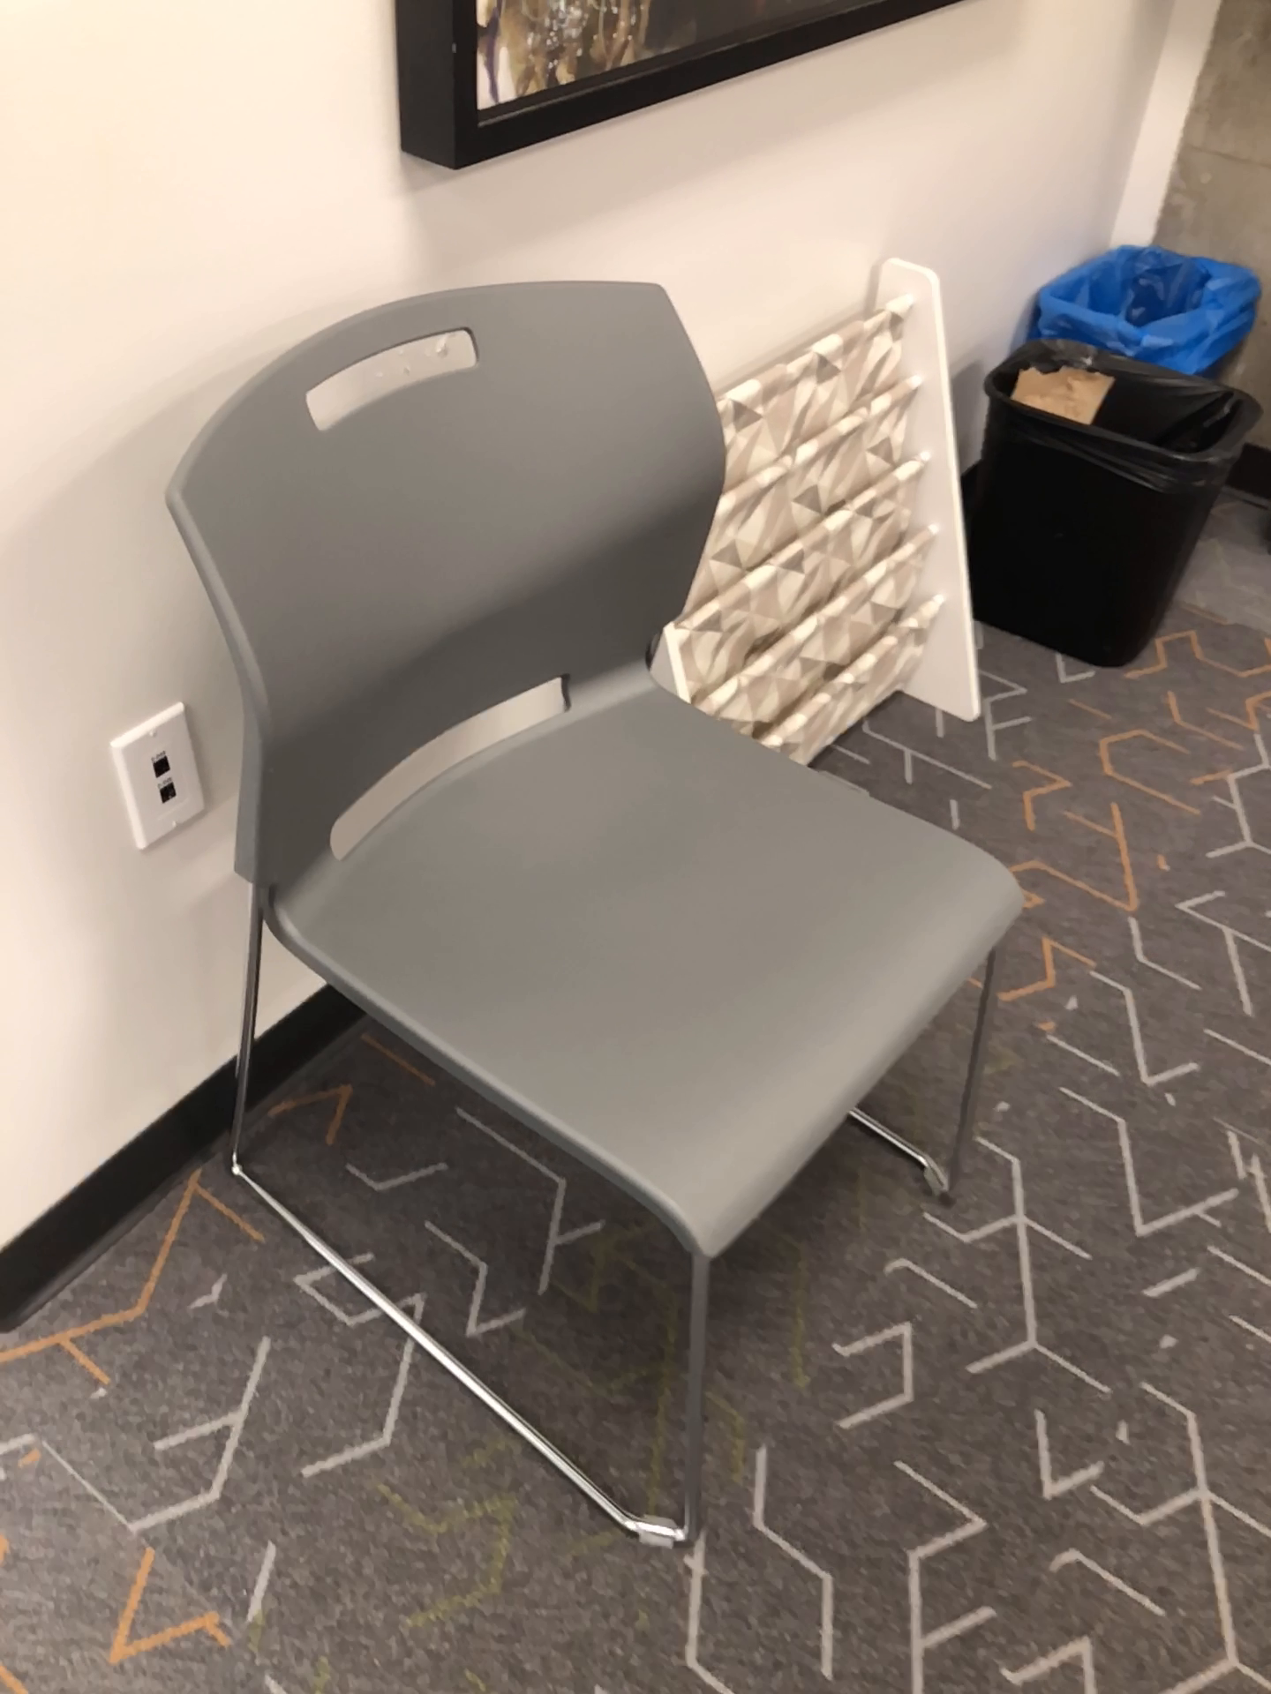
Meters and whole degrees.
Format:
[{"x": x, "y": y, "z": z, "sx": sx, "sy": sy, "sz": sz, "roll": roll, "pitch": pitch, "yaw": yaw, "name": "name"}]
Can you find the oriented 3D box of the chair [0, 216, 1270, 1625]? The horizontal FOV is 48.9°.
[{"x": -0.018, "y": 0.025, "z": 1.141, "sx": 0.672, "sy": 0.735, "sz": 0.582, "roll": 30, "pitch": 49, "yaw": 26, "name": "chair"}]
